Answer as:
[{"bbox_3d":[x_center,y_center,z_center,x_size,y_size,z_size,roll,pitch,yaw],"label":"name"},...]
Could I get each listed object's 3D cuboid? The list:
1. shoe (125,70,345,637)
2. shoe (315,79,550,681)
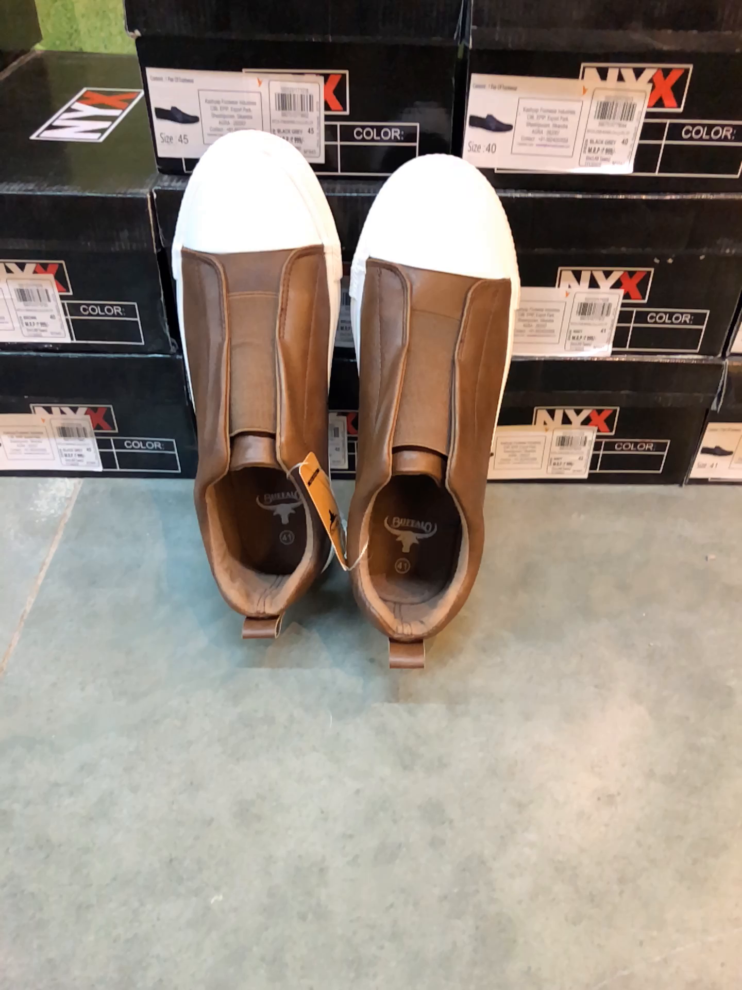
[{"bbox_3d":[-0.065,-0.069,0.445,0.098,0.269,0.103,0,5,0],"label":"shoe"},{"bbox_3d":[0.029,-0.054,0.428,0.096,0.272,0.100,2,3,2],"label":"shoe"}]
